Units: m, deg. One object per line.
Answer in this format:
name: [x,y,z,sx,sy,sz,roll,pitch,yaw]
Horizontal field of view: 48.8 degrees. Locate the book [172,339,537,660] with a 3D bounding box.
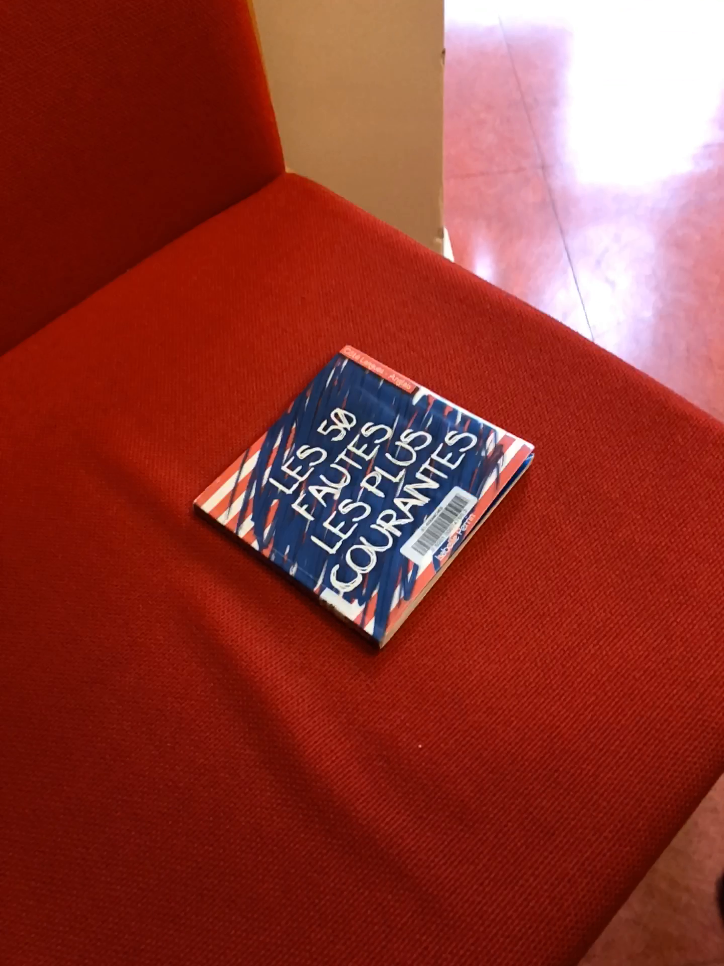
book: [-0.004,-0.001,0.458,0.148,0.020,0.149,32,66,27]
